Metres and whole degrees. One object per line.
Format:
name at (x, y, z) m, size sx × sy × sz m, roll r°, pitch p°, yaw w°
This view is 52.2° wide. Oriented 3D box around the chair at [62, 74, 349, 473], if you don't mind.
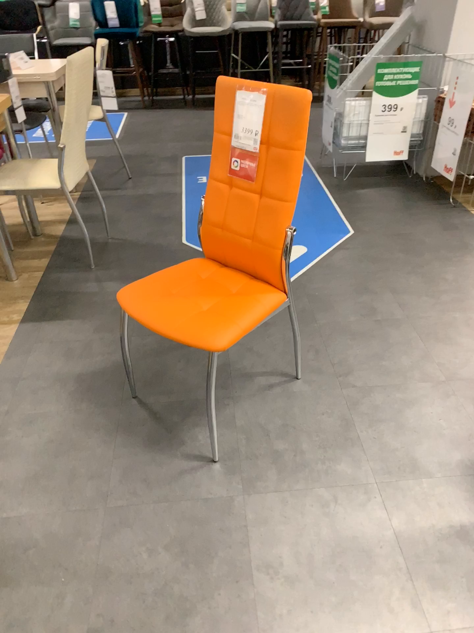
chair at (-0.068, -0.140, 1.520) m, size 0.491 × 1.014 × 0.542 m, roll 28°, pitch 44°, yaw 35°
